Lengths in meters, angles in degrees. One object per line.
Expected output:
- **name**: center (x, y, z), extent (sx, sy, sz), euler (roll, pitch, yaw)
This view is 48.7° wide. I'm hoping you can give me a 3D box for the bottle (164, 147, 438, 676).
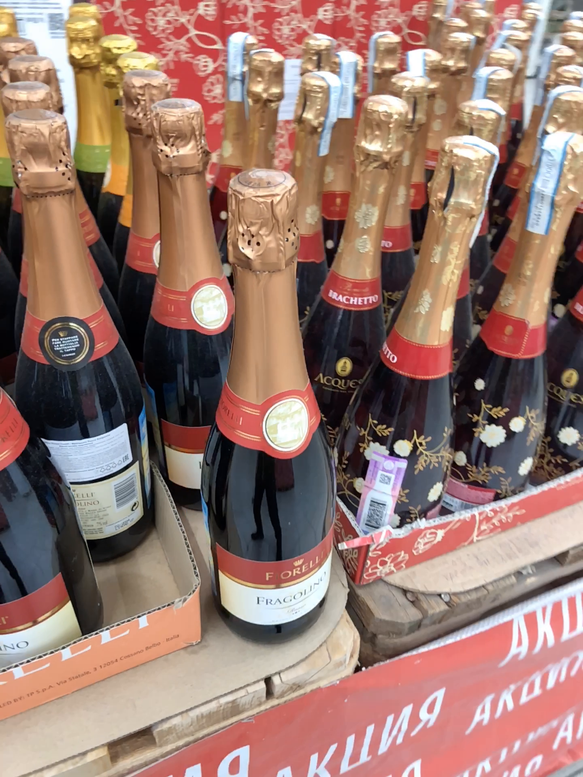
- **bottle**: center (-0.007, 0.030, 0.374), extent (0.090, 0.298, 0.090), euler (3, 37, -2)
